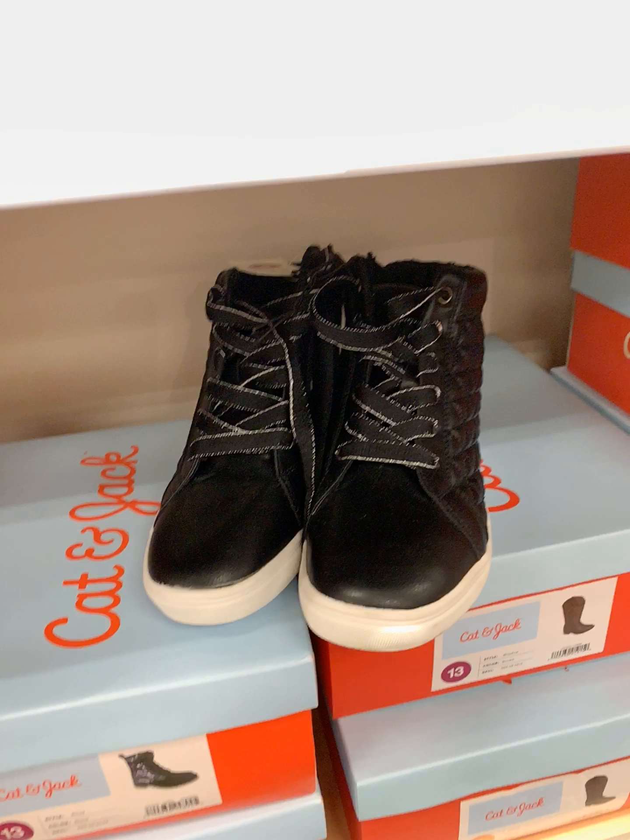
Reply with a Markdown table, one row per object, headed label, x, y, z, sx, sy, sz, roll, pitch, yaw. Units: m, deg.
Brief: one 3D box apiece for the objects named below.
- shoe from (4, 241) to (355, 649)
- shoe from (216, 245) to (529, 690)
| label | x | y | z | sx | sy | sz | roll | pitch | yaw |
| --- | --- | --- | --- | --- | --- | --- | --- | --- | --- |
| shoe | -0.045 | -0.010 | 0.367 | 0.100 | 0.119 | 0.231 | 3 | 30 | 11 |
| shoe | 0.041 | -0.003 | 0.332 | 0.100 | 0.109 | 0.231 | 3 | 30 | 11 |
